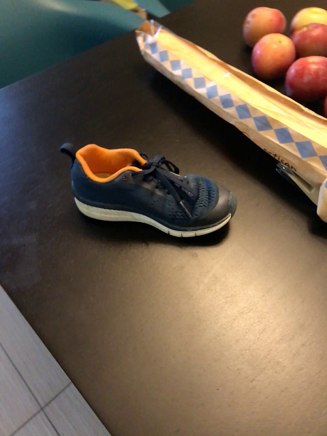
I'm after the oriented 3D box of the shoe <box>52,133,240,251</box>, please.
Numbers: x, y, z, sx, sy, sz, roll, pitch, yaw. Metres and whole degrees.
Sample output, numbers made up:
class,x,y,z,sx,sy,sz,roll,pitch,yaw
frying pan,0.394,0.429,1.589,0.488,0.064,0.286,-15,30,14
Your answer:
class,x,y,z,sx,sy,sz,roll,pitch,yaw
shoe,-0.015,-0.032,0.410,0.186,0.072,0.085,9,52,10
